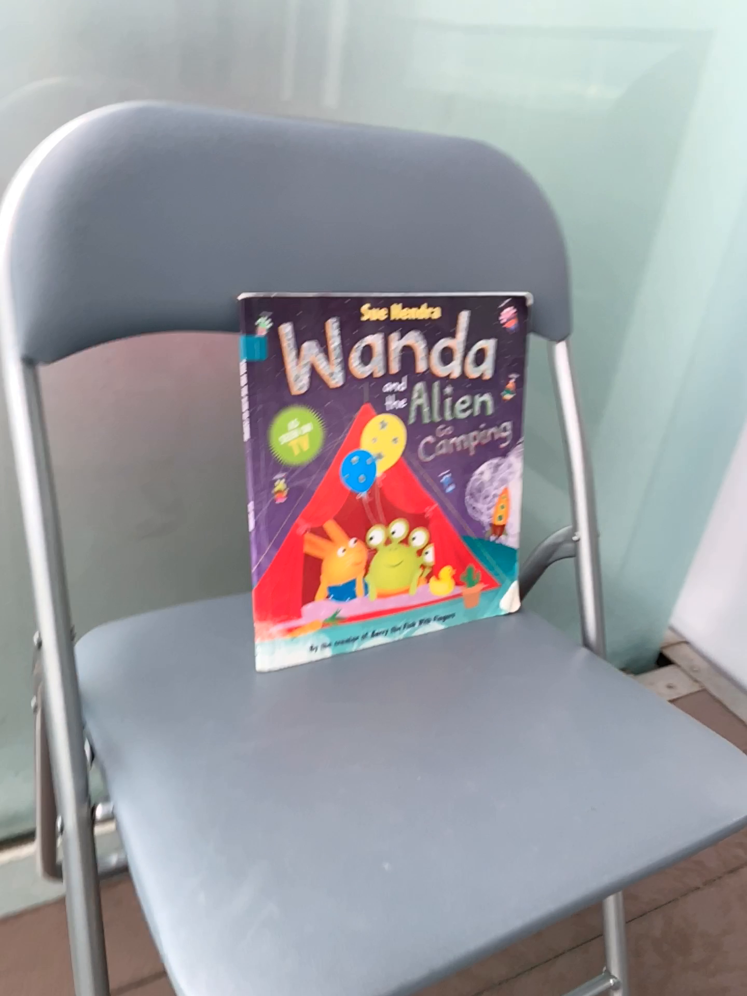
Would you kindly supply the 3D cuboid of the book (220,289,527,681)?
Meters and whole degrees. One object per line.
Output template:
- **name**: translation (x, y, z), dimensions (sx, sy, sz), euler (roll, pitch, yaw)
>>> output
- **book**: translation (0.004, -0.016, 0.579), dimensions (0.231, 0.268, 0.030), euler (-7, 18, -28)
